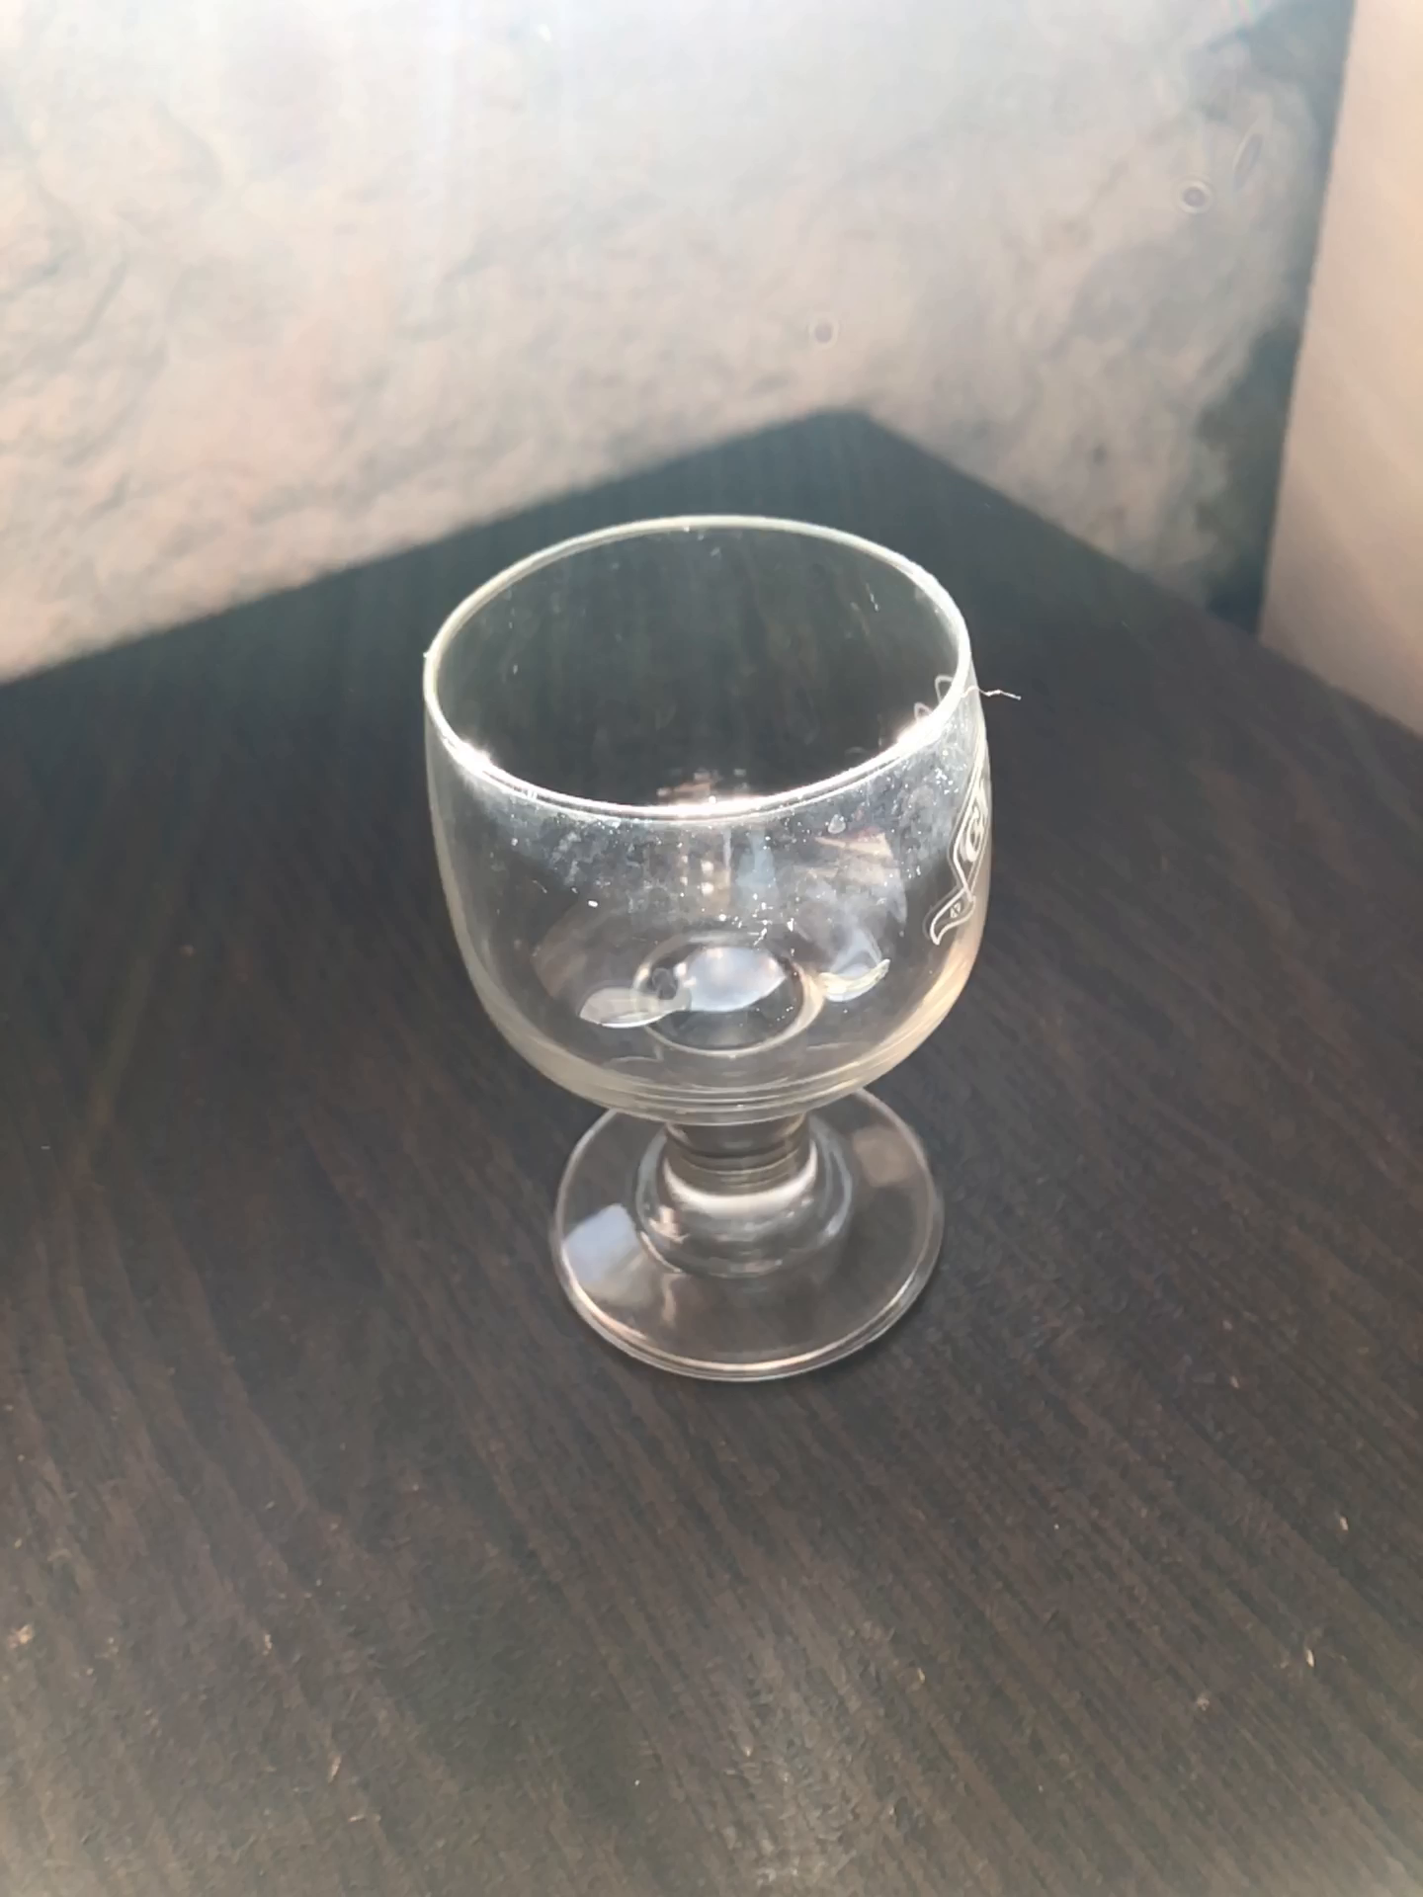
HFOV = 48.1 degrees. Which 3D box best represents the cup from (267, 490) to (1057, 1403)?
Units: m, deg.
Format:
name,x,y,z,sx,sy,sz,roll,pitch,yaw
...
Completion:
name,x,y,z,sx,sy,sz,roll,pitch,yaw
cup,0.001,0.003,0.234,0.085,0.107,0.078,-4,41,3
